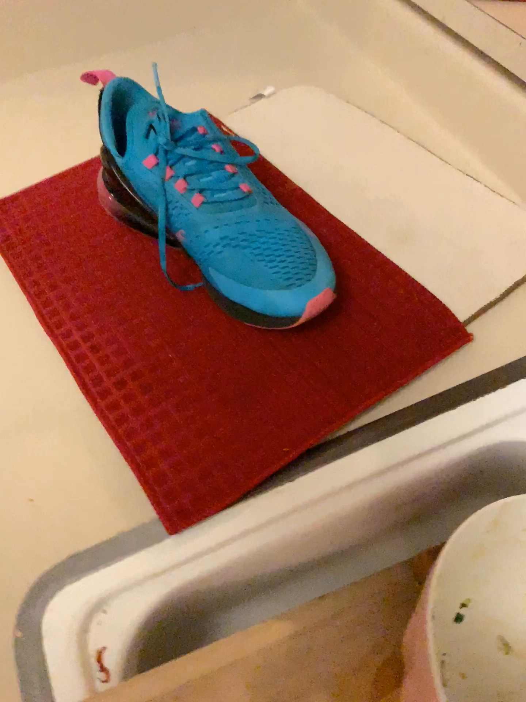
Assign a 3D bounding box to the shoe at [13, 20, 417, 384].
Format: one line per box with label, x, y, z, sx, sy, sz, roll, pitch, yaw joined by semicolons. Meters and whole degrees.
shoe;-0.051;-0.149;0.523;0.150;0.130;0.330;-38;60;-21
